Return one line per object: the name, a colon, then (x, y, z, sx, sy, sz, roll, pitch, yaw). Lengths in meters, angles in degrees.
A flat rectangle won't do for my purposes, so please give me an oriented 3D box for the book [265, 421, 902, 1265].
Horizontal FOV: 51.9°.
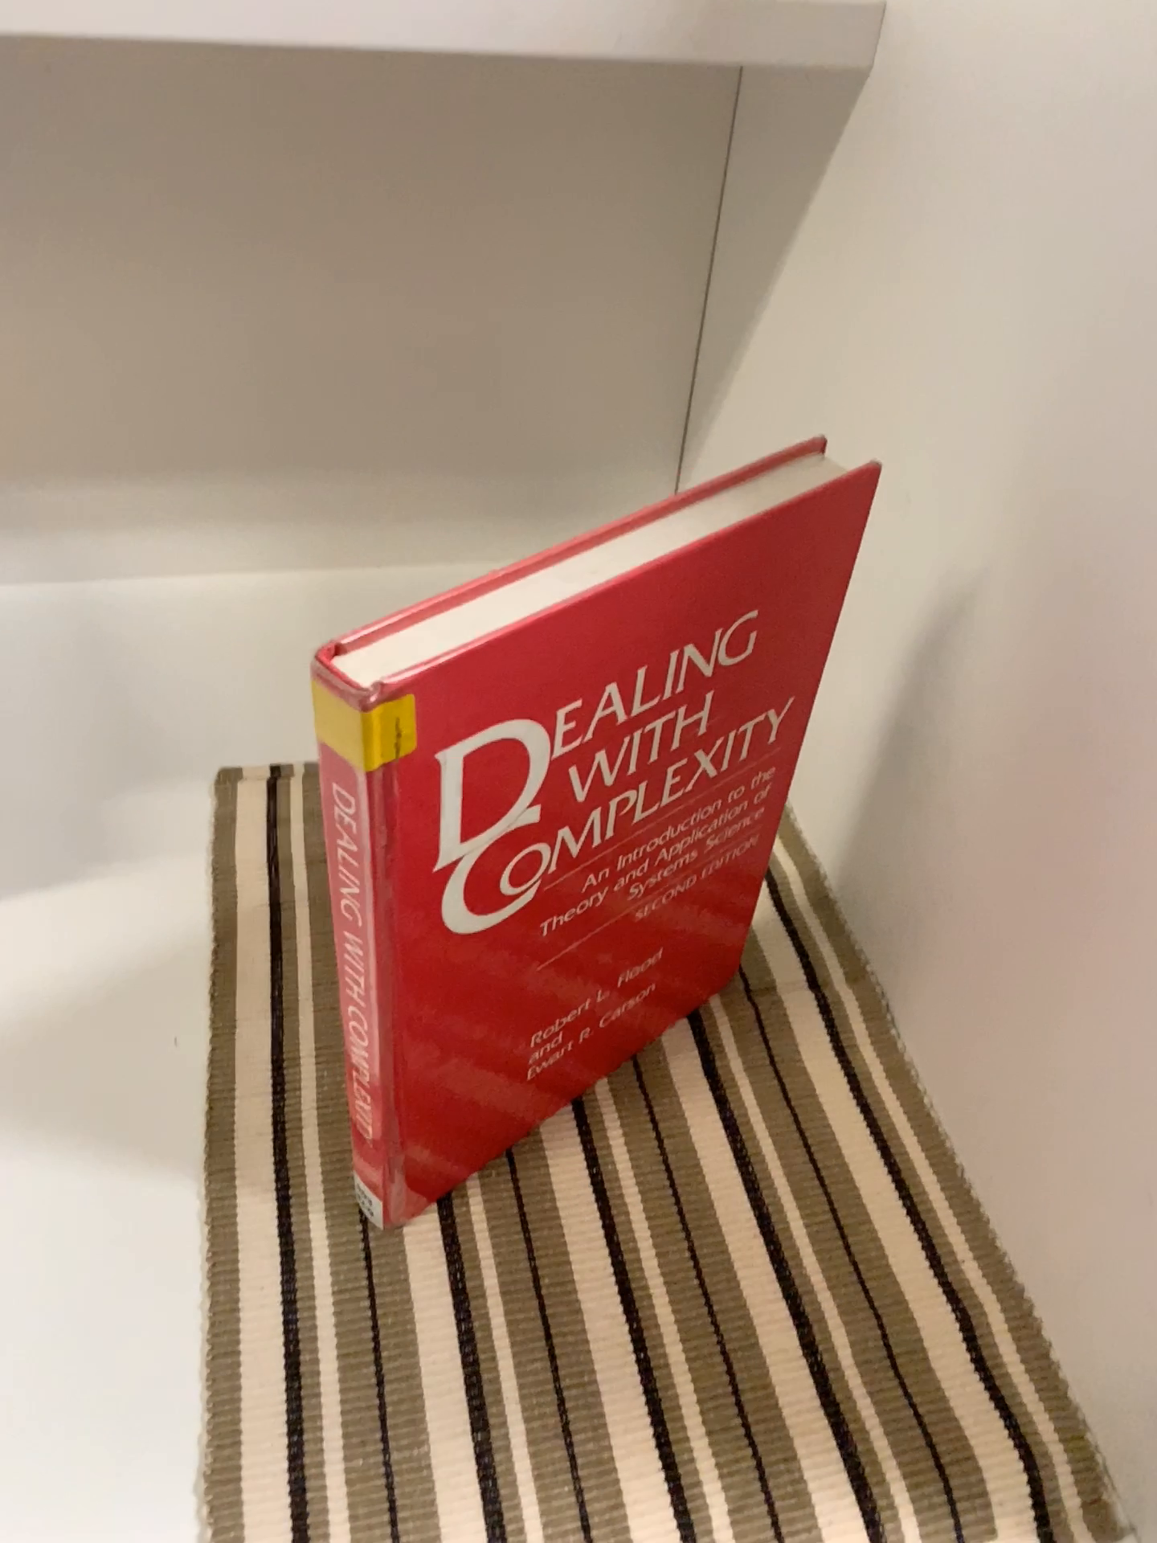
book: (0.003, 0.031, 0.395, 0.201, 0.250, 0.030, -29, 53, -33)
